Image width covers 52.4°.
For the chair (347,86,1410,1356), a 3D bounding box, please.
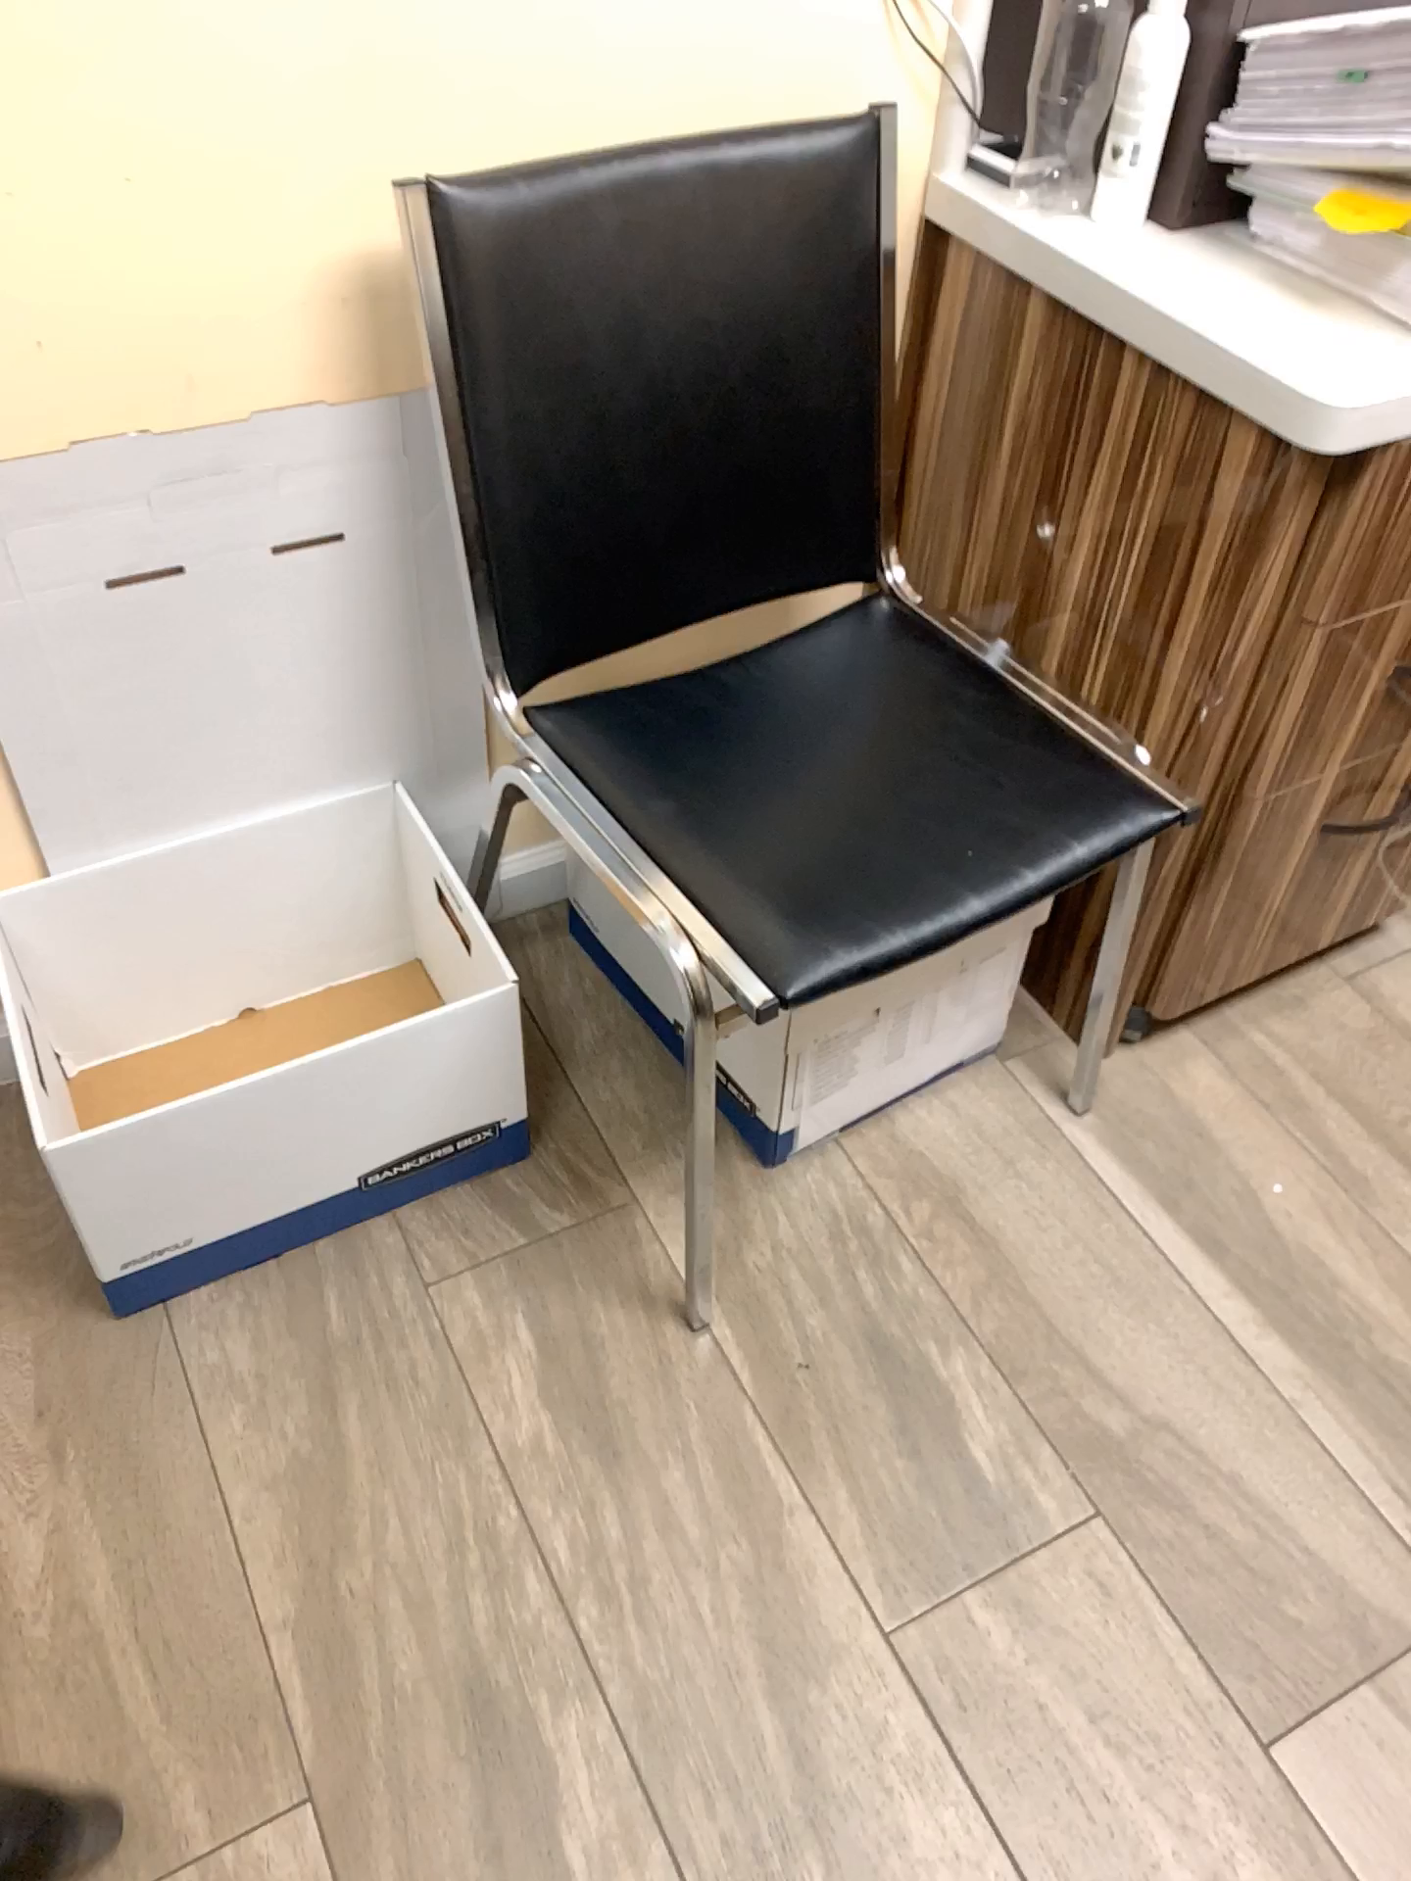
[{"bbox_3d":[0.105,-0.174,1.244,0.555,0.813,0.530,-23,52,-23],"label":"chair"}]
